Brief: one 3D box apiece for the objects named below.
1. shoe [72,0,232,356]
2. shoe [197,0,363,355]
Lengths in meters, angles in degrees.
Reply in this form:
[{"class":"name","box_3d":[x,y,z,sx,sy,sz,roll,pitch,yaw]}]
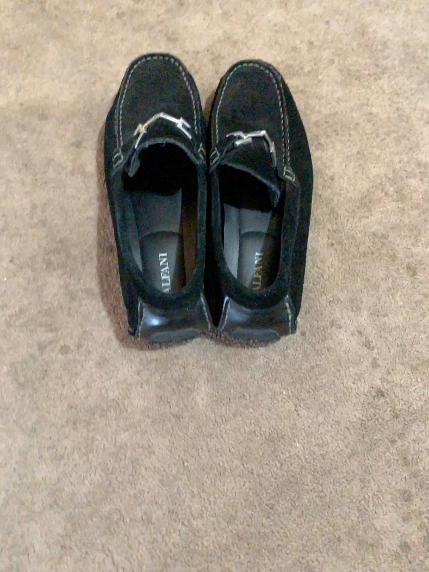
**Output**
[{"class":"shoe","box_3d":[-0.049,-0.105,0.378,0.100,0.100,0.311,0,70,-6]},{"class":"shoe","box_3d":[0.041,-0.103,0.393,0.100,0.100,0.311,0,70,-6]}]
